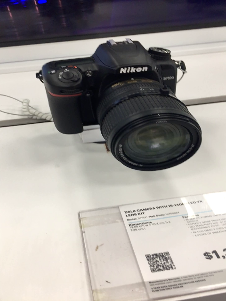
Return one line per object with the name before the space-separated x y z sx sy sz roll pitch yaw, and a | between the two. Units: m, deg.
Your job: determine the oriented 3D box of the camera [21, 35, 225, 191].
camera | 0.000 -0.049 0.320 0.153 0.092 0.161 -7 40 -3
